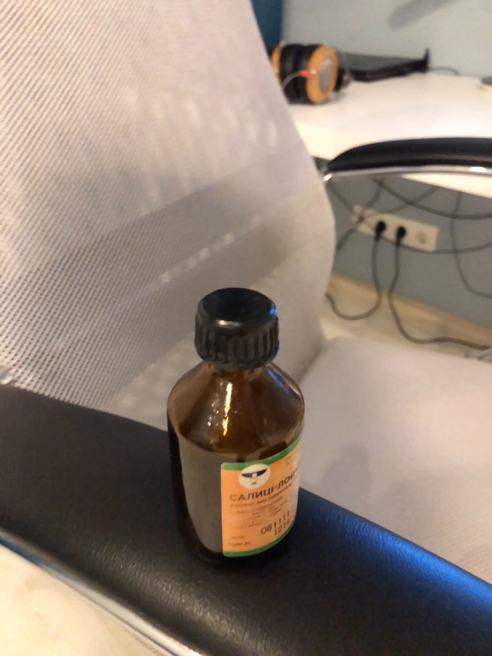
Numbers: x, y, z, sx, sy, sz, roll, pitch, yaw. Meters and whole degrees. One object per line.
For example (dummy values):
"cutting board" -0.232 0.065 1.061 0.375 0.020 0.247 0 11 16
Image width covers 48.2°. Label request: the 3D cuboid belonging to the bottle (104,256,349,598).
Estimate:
"bottle" -0.003 0.029 0.174 0.050 0.083 0.050 -1 32 1
